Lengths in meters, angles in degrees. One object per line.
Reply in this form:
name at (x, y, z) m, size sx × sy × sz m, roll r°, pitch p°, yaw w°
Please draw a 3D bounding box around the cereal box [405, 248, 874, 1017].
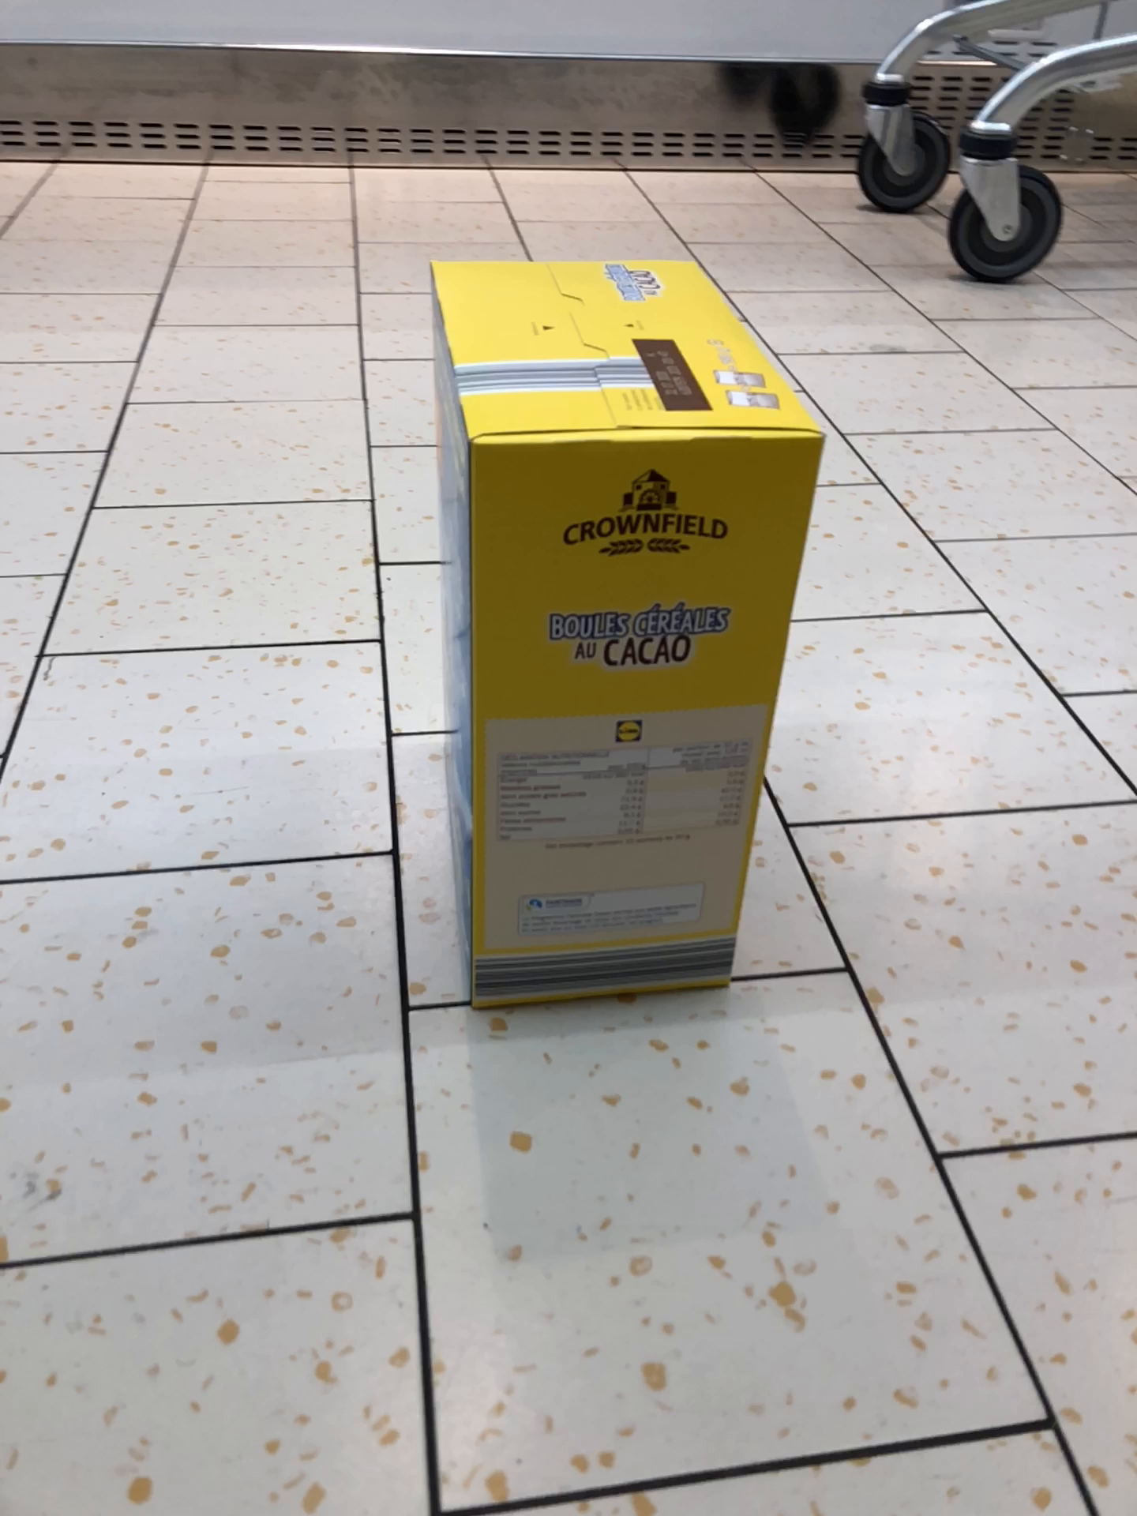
cereal box at (0.007, -0.060, 0.517) m, size 0.130 × 0.238 × 0.211 m, roll -3°, pitch 36°, yaw -8°
